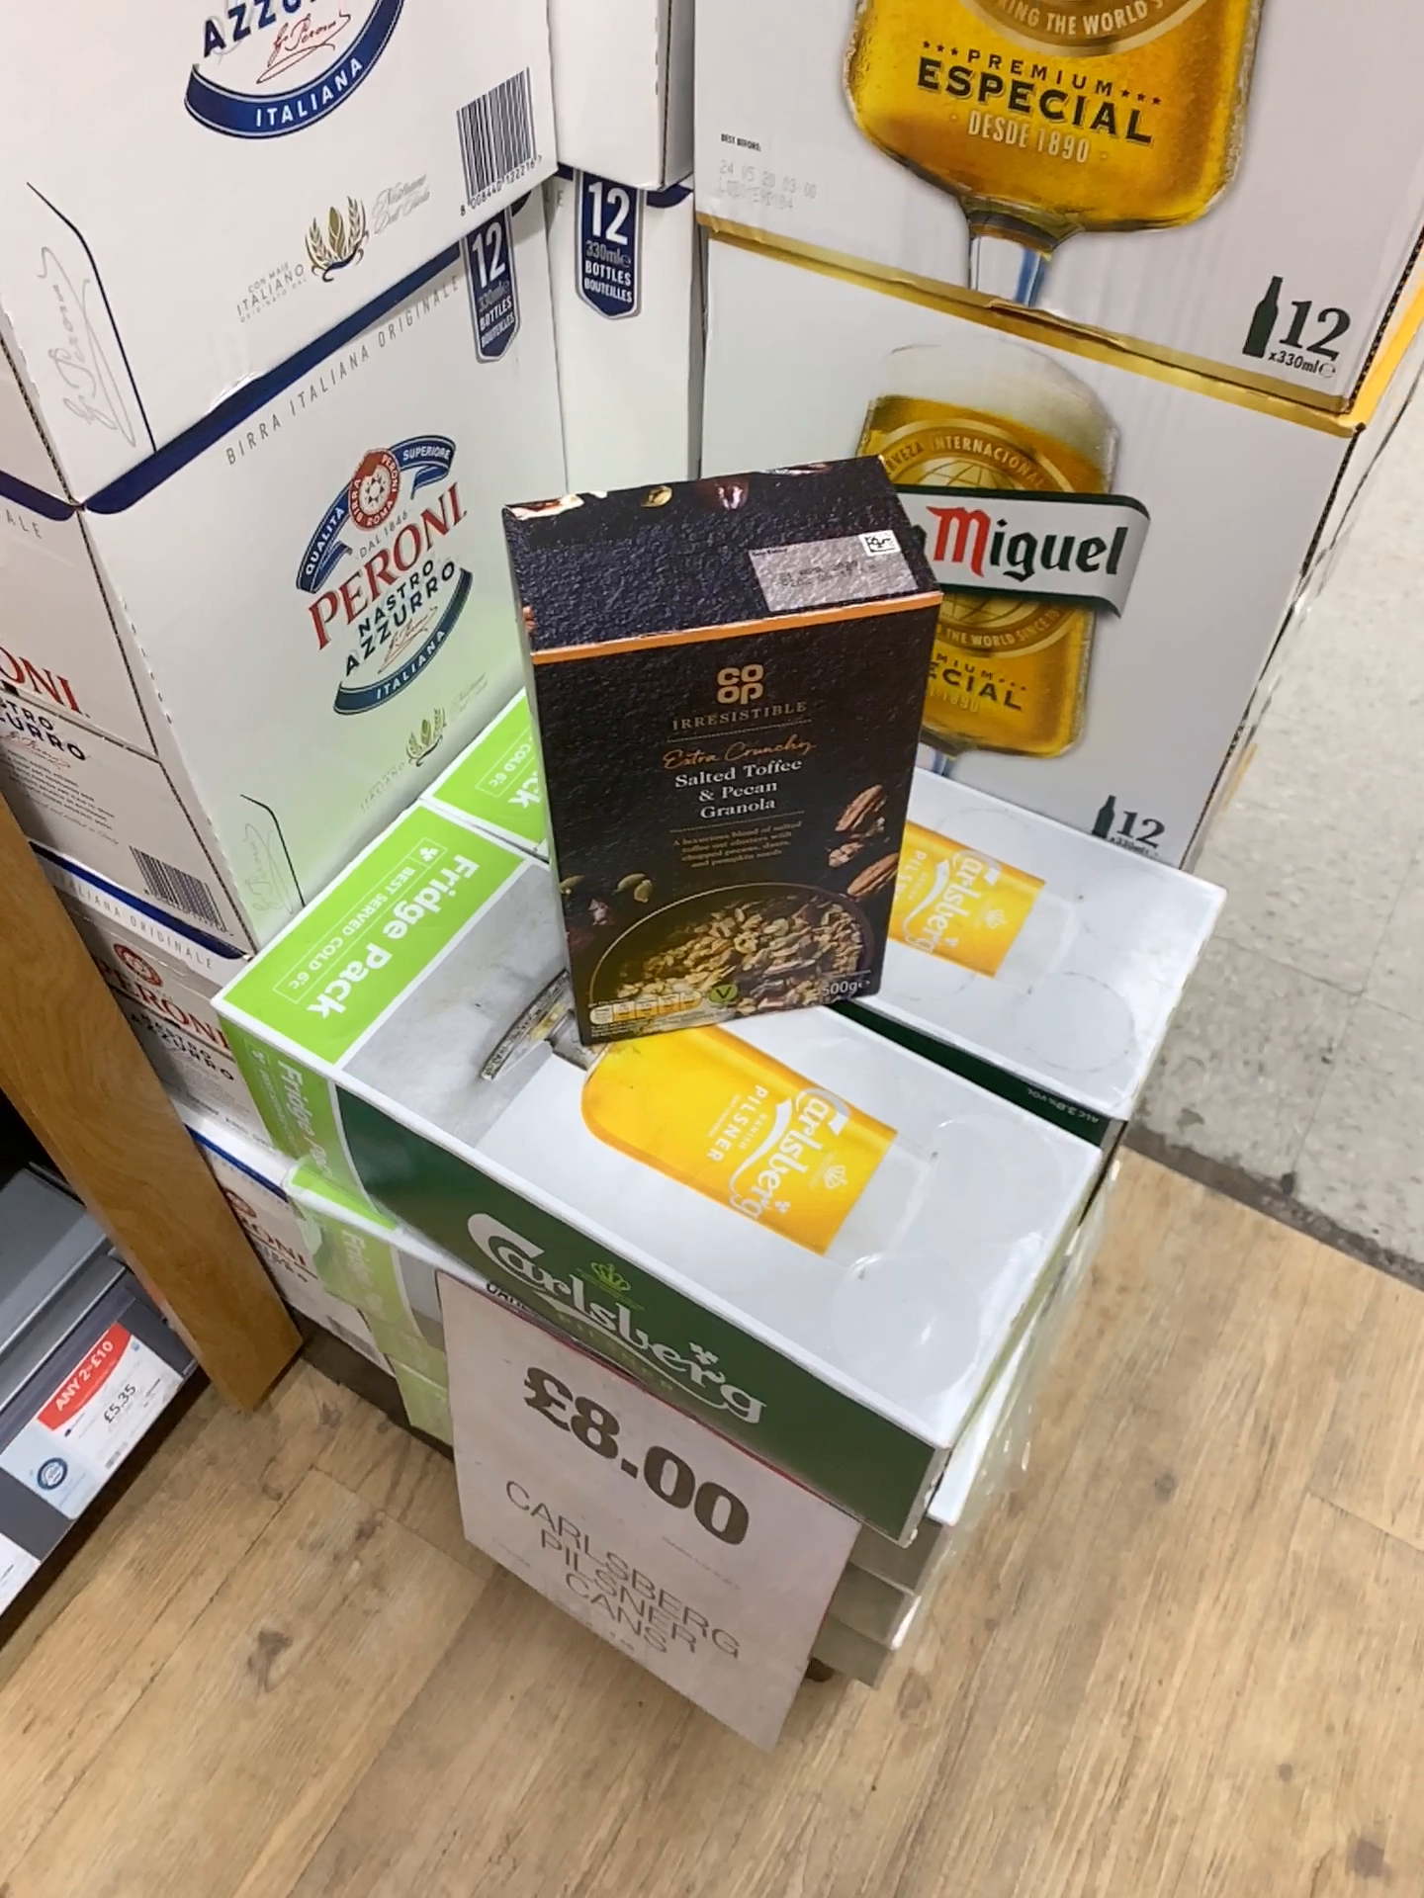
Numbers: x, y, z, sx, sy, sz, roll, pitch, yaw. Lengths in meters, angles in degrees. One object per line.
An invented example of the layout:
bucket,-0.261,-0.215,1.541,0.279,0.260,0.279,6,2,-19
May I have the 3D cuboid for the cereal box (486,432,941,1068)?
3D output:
cereal box,-0.002,-0.059,0.514,0.120,0.208,0.081,-10,53,-8
